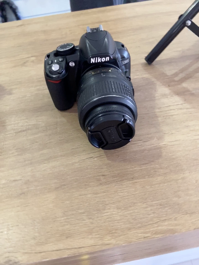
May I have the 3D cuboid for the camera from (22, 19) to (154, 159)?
[{"bbox_3d":[-0.017,-0.072,0.294,0.130,0.090,0.181,-9,48,0],"label":"camera"}]
